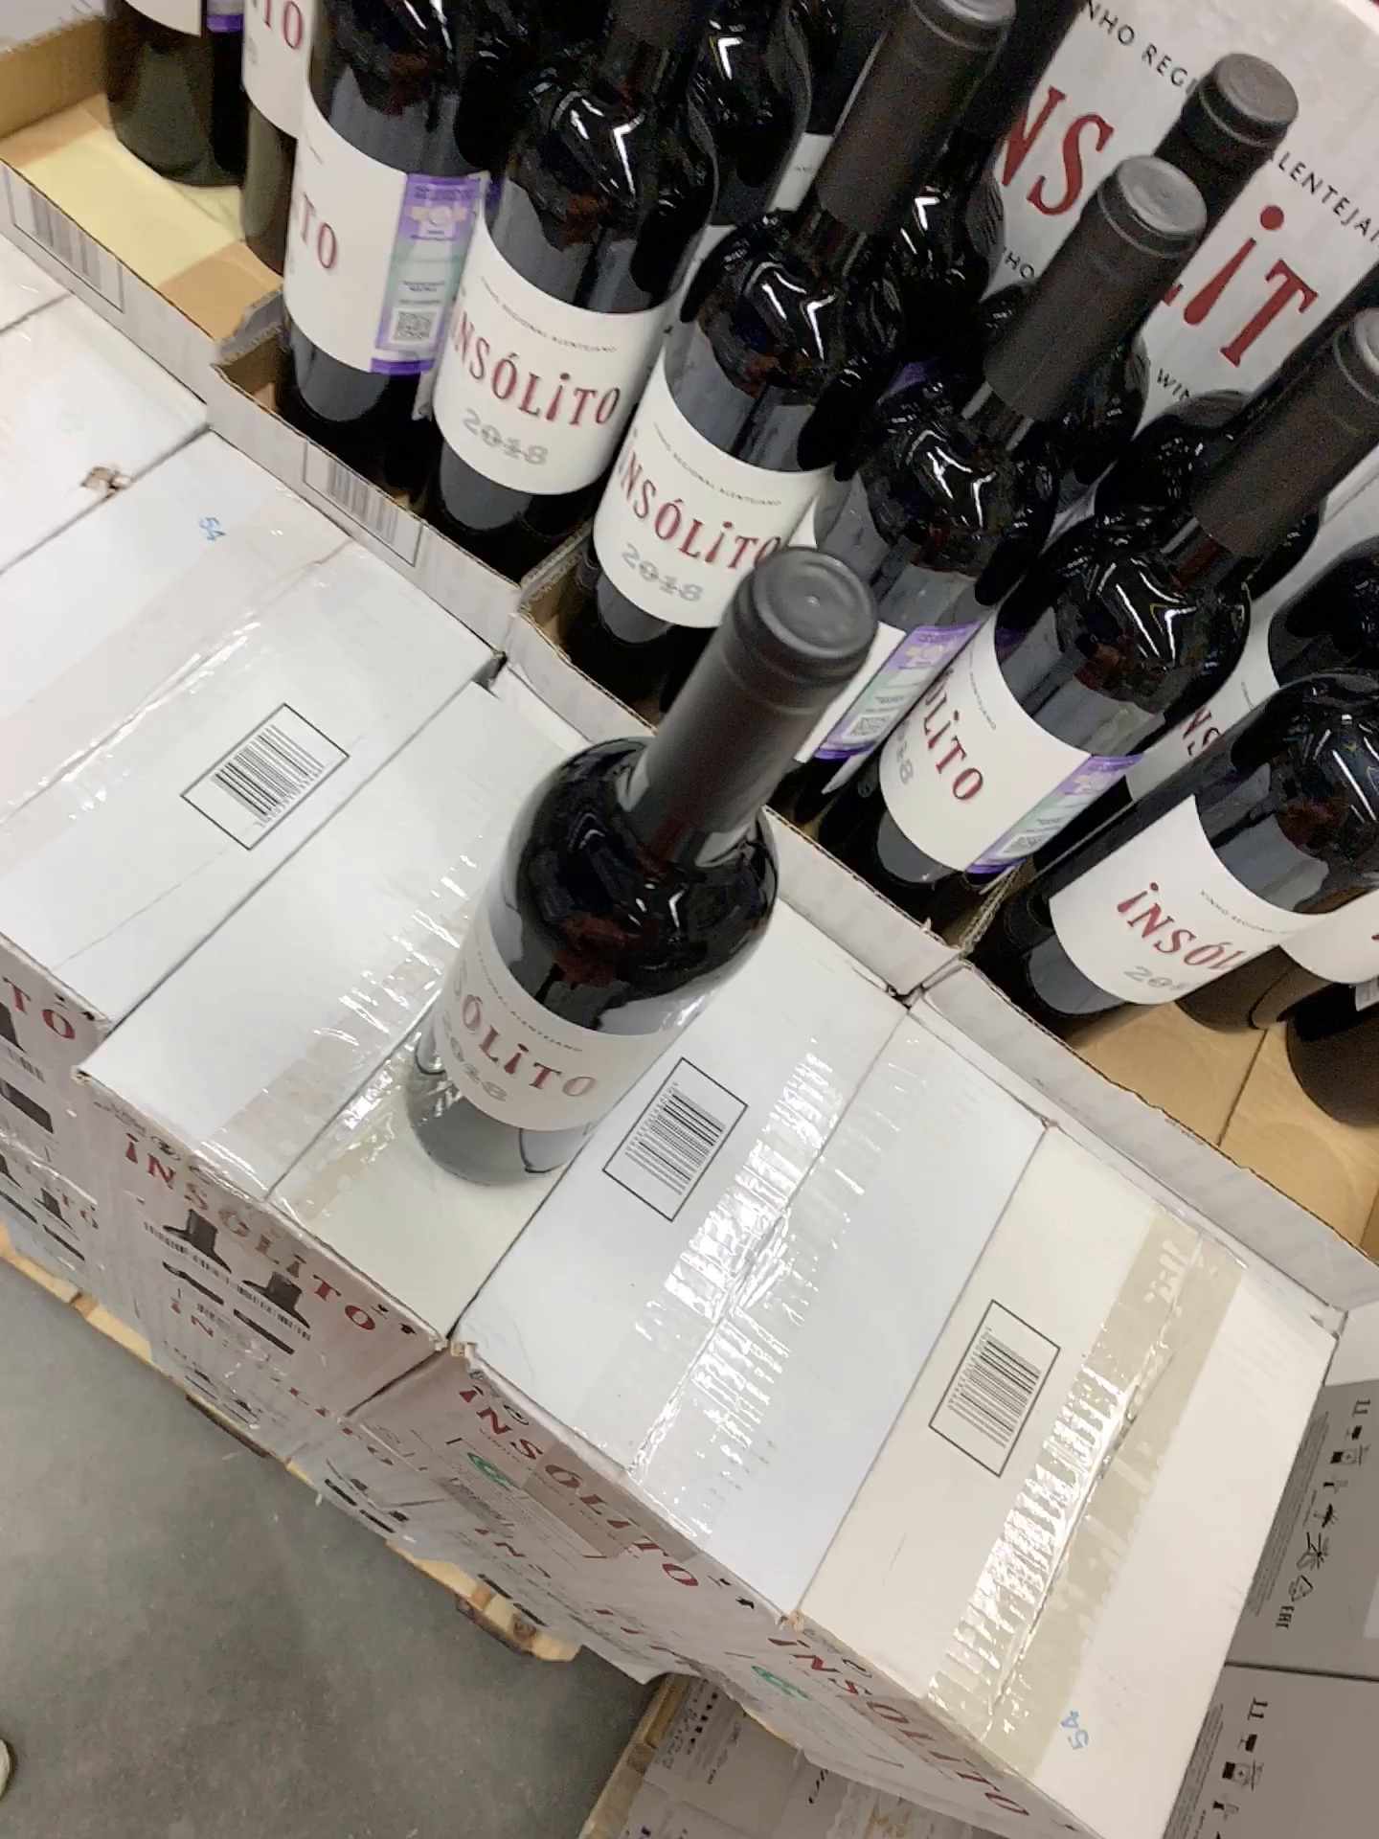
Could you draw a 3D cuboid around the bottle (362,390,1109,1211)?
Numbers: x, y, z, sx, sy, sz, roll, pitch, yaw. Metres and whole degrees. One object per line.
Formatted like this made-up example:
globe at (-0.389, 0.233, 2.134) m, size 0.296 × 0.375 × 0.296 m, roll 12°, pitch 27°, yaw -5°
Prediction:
bottle at (-0.021, -0.002, 0.391) m, size 0.080 × 0.310 × 0.077 m, roll 8°, pitch 65°, yaw -17°
